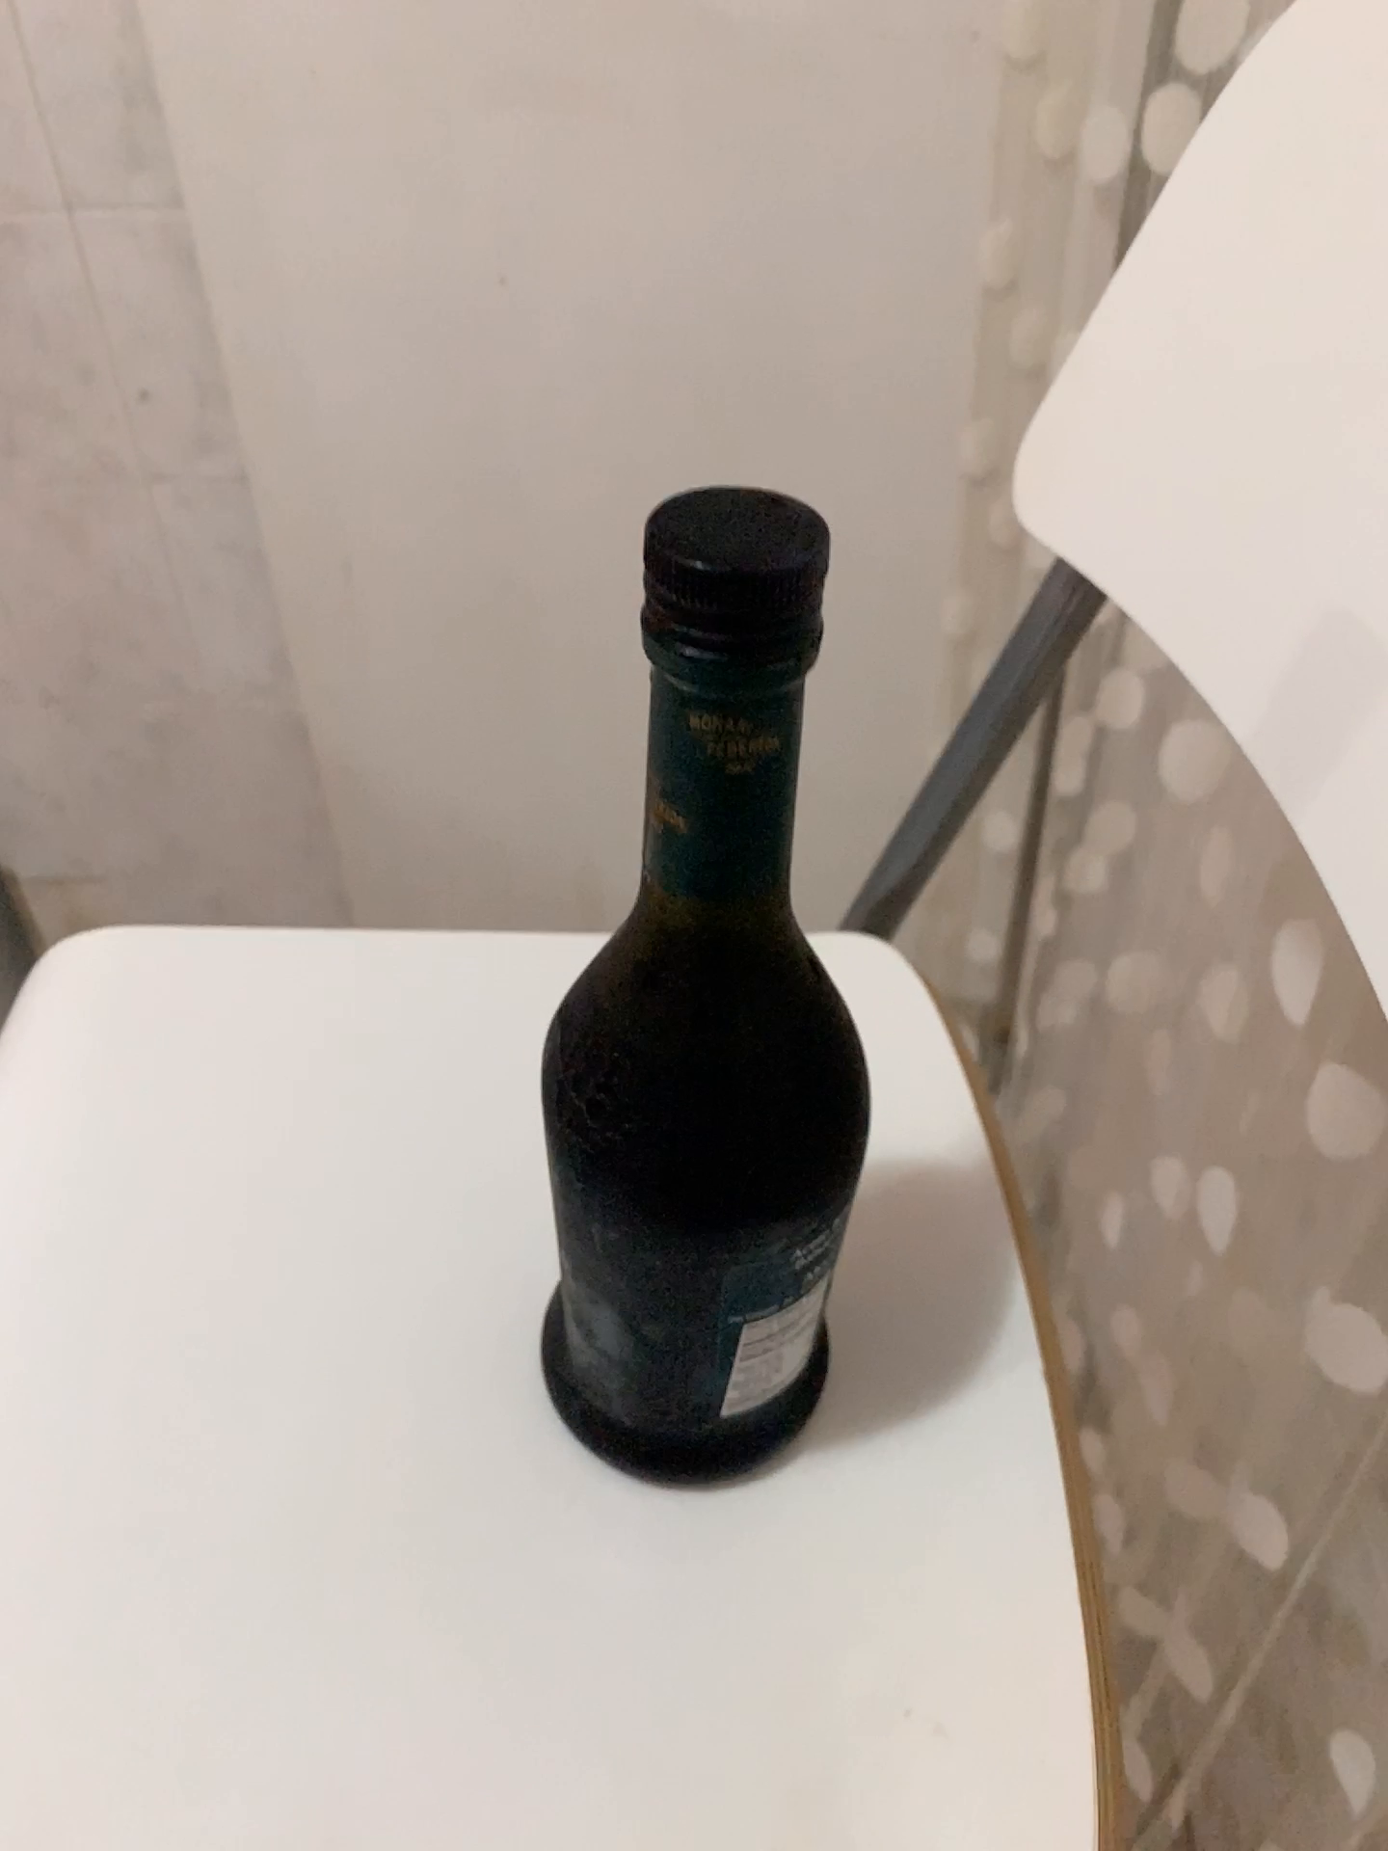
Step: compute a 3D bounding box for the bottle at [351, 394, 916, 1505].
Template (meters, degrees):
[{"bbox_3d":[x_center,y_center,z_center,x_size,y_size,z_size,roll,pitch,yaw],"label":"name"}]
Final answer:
[{"bbox_3d":[-0.003,0.022,0.316,0.080,0.242,0.091,2,41,4],"label":"bottle"}]
